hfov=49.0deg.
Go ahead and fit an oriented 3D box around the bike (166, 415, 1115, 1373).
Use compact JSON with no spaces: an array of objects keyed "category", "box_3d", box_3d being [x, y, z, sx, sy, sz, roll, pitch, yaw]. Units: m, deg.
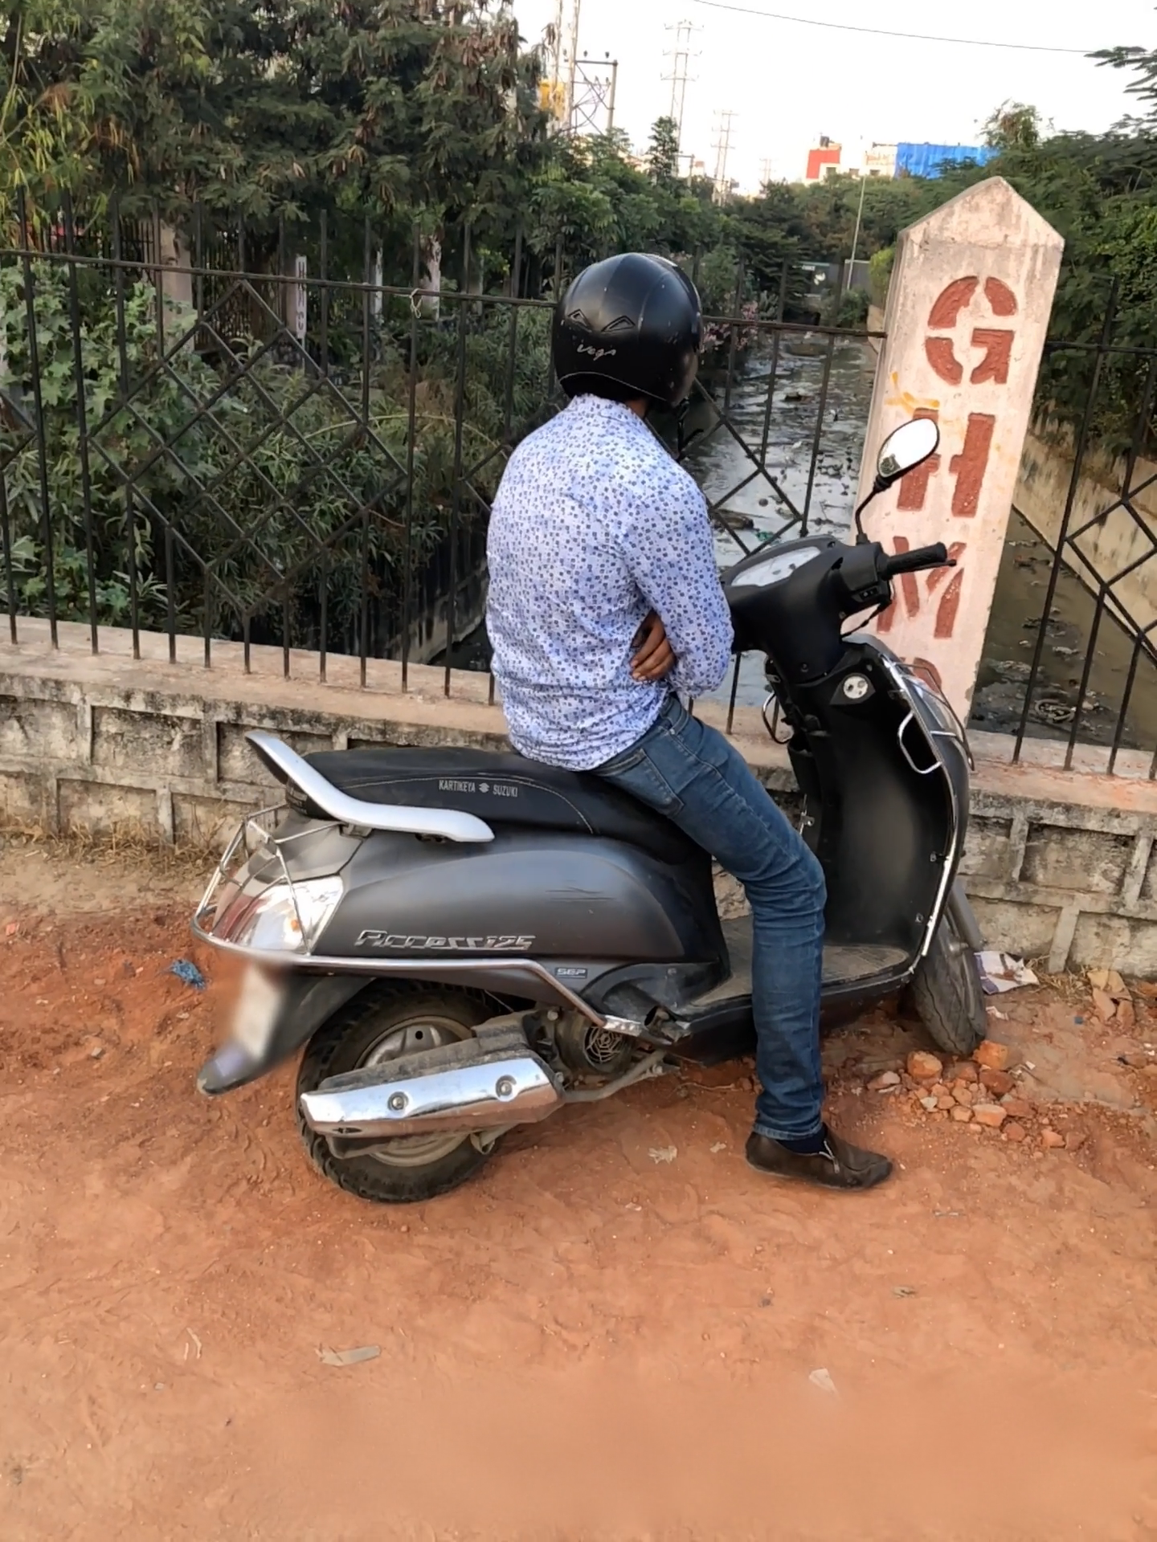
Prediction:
[{"category":"bike","box_3d":[0.130,0.051,2.519,1.582,1.217,0.799,-16,29,-36]}]
